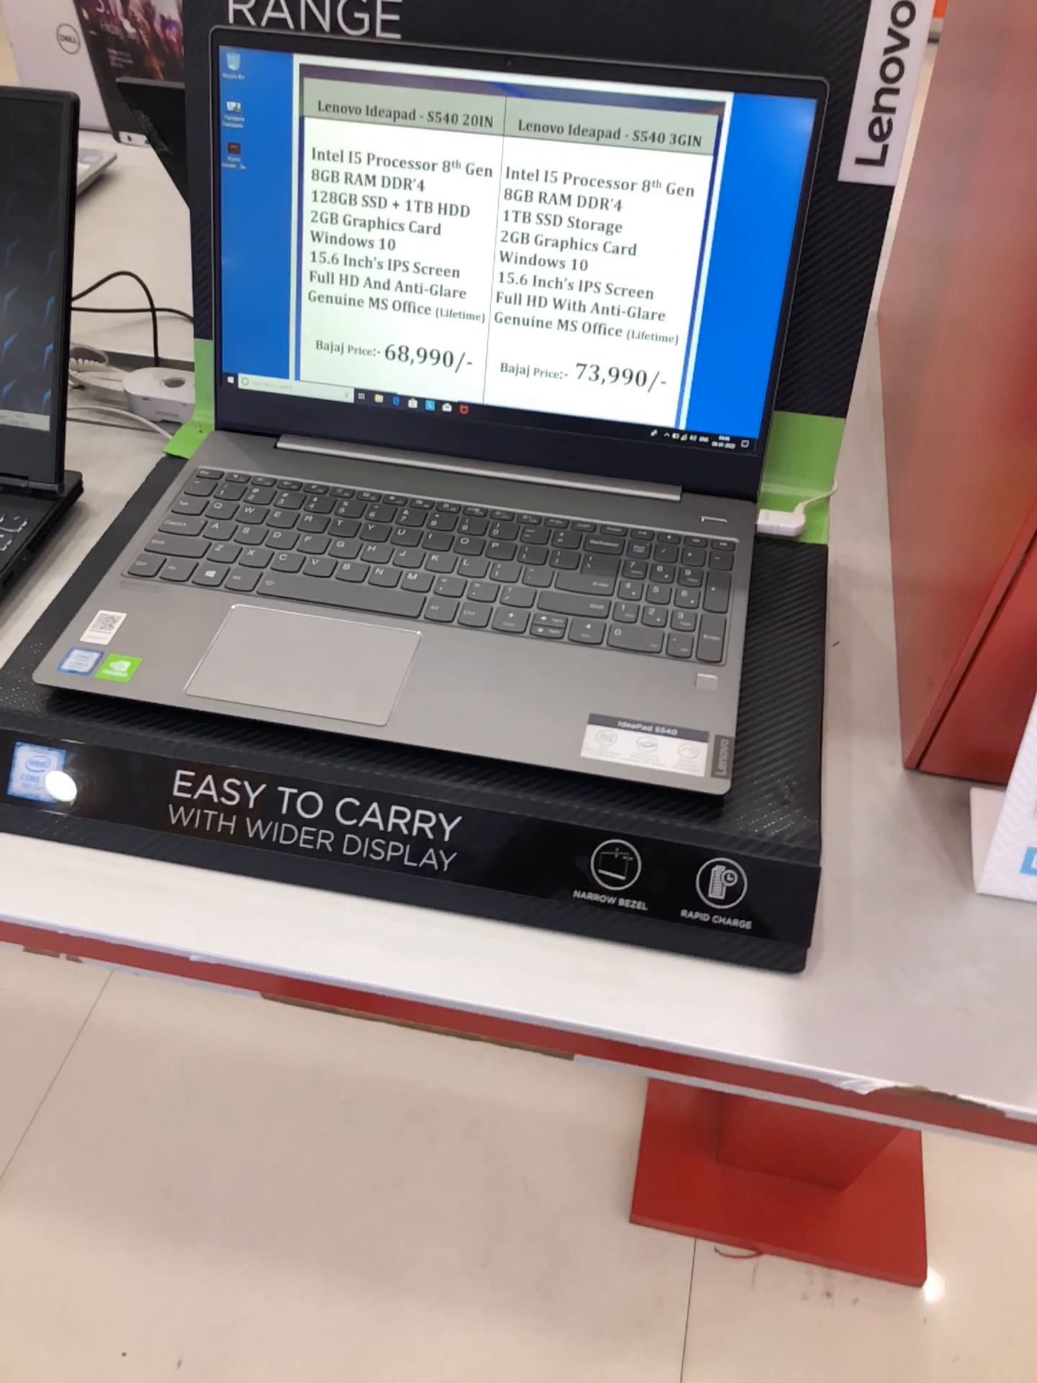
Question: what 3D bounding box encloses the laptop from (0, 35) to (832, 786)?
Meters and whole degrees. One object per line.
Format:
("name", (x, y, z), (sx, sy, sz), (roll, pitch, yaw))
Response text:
("laptop", (-0.037, -0.162, 0.580), (0.335, 0.194, 0.326), (9, 47, 7))
